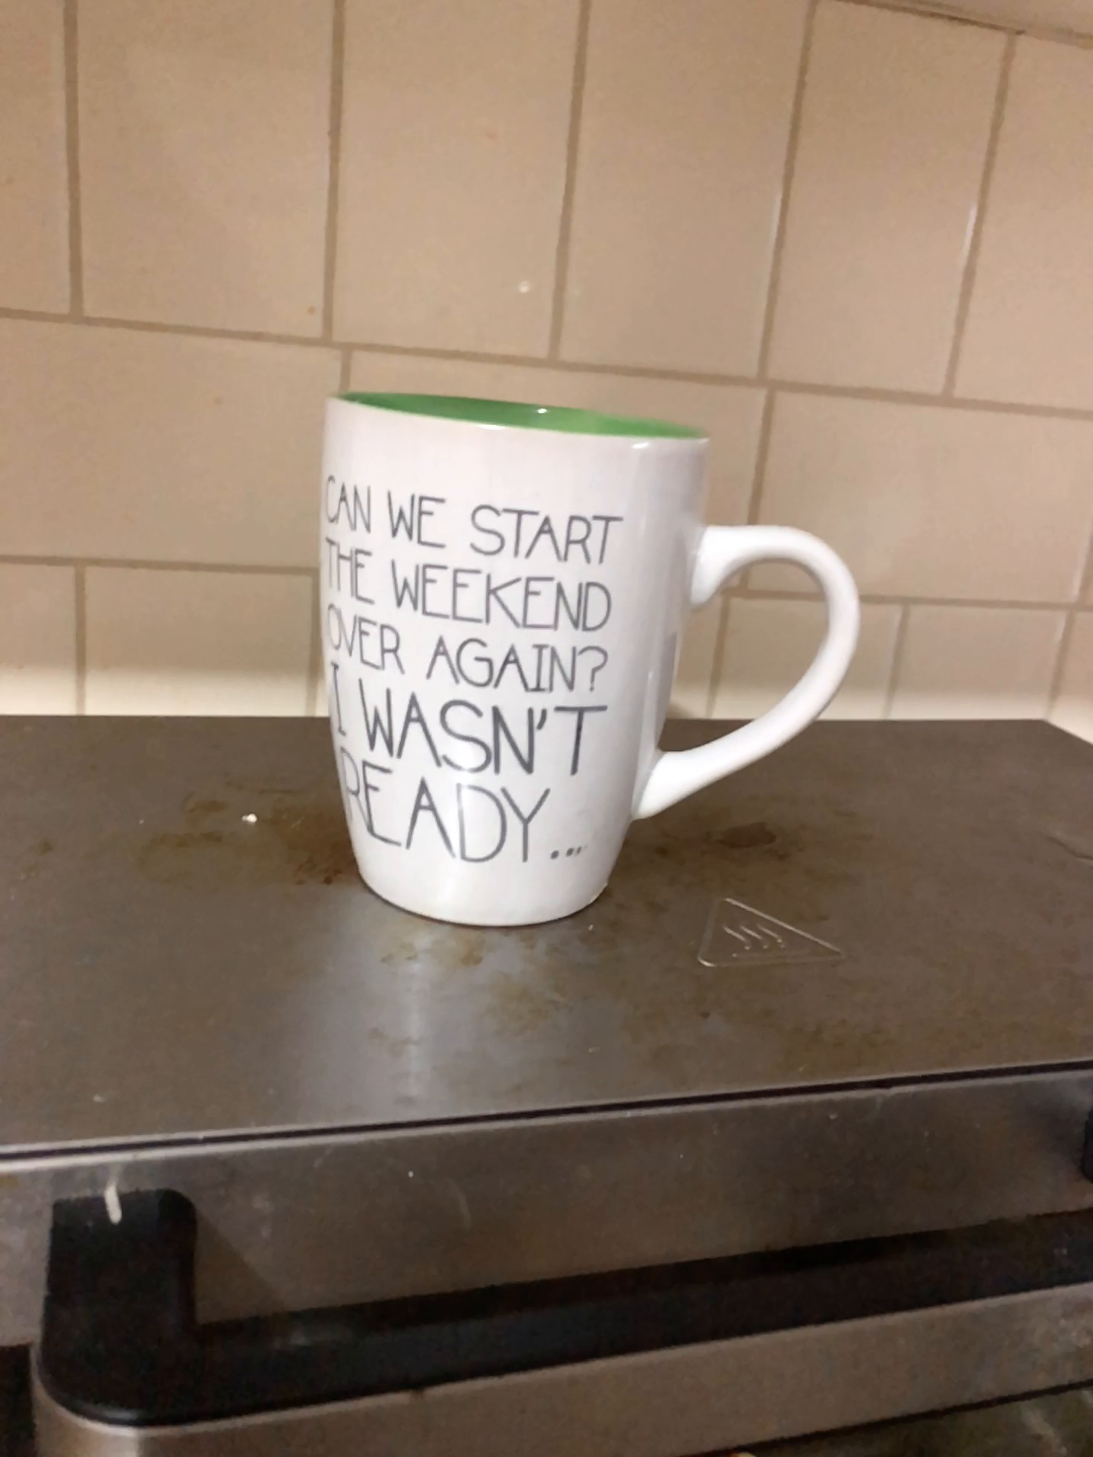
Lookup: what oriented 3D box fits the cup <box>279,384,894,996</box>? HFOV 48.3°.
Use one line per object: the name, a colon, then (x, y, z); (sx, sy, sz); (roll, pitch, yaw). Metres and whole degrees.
cup: (0.007, -0.015, 0.272); (0.110, 0.110, 0.070); (7, 16, 6)
